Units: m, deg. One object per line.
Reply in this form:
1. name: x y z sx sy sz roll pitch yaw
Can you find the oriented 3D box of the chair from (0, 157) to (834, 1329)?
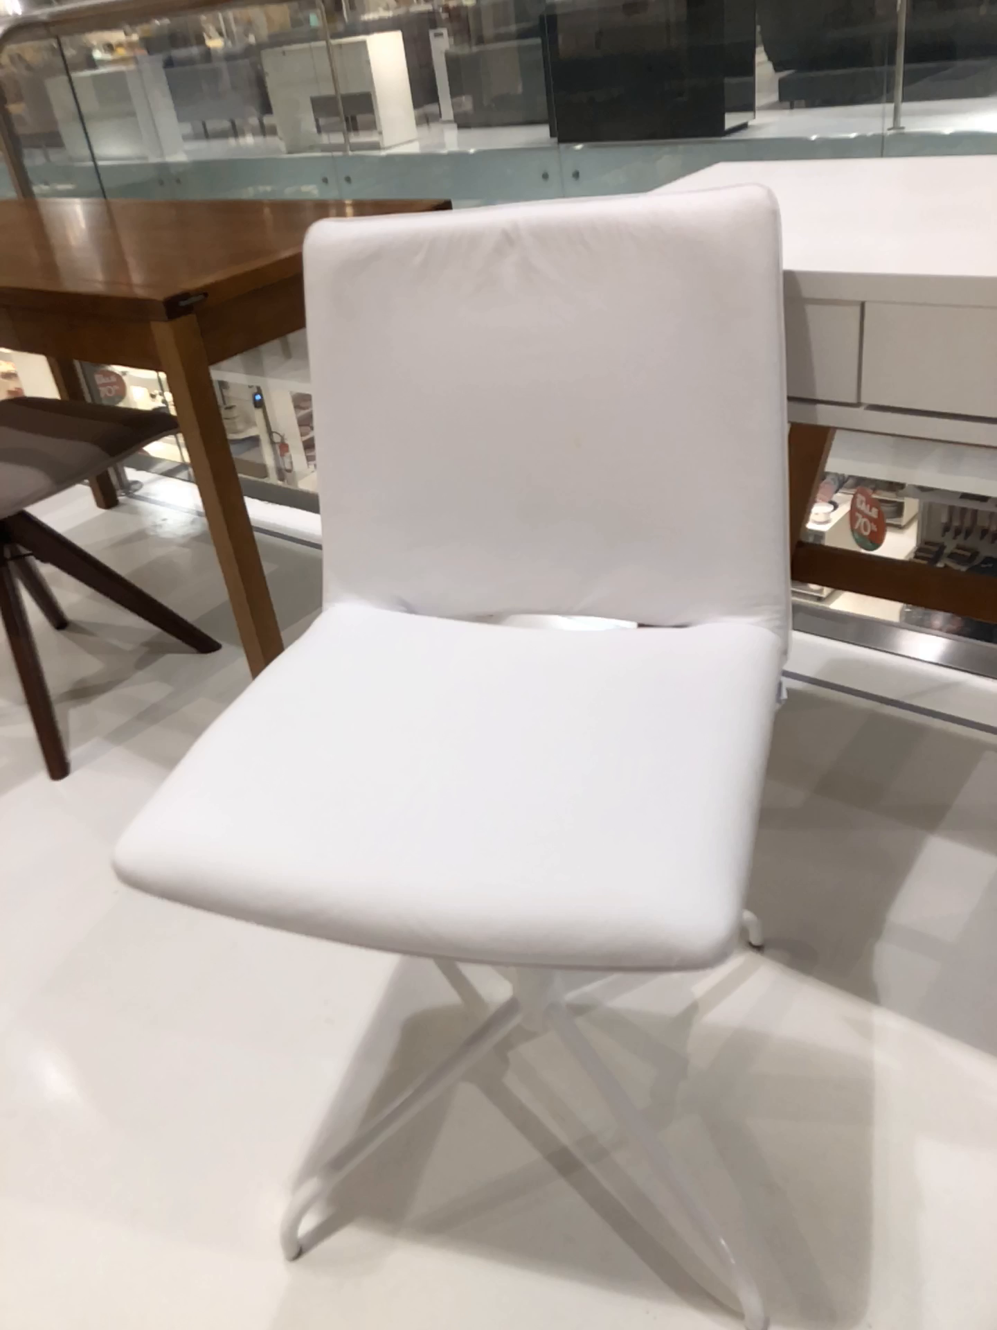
1. chair: 0.003 0.081 0.942 0.510 0.844 0.504 3 33 18
